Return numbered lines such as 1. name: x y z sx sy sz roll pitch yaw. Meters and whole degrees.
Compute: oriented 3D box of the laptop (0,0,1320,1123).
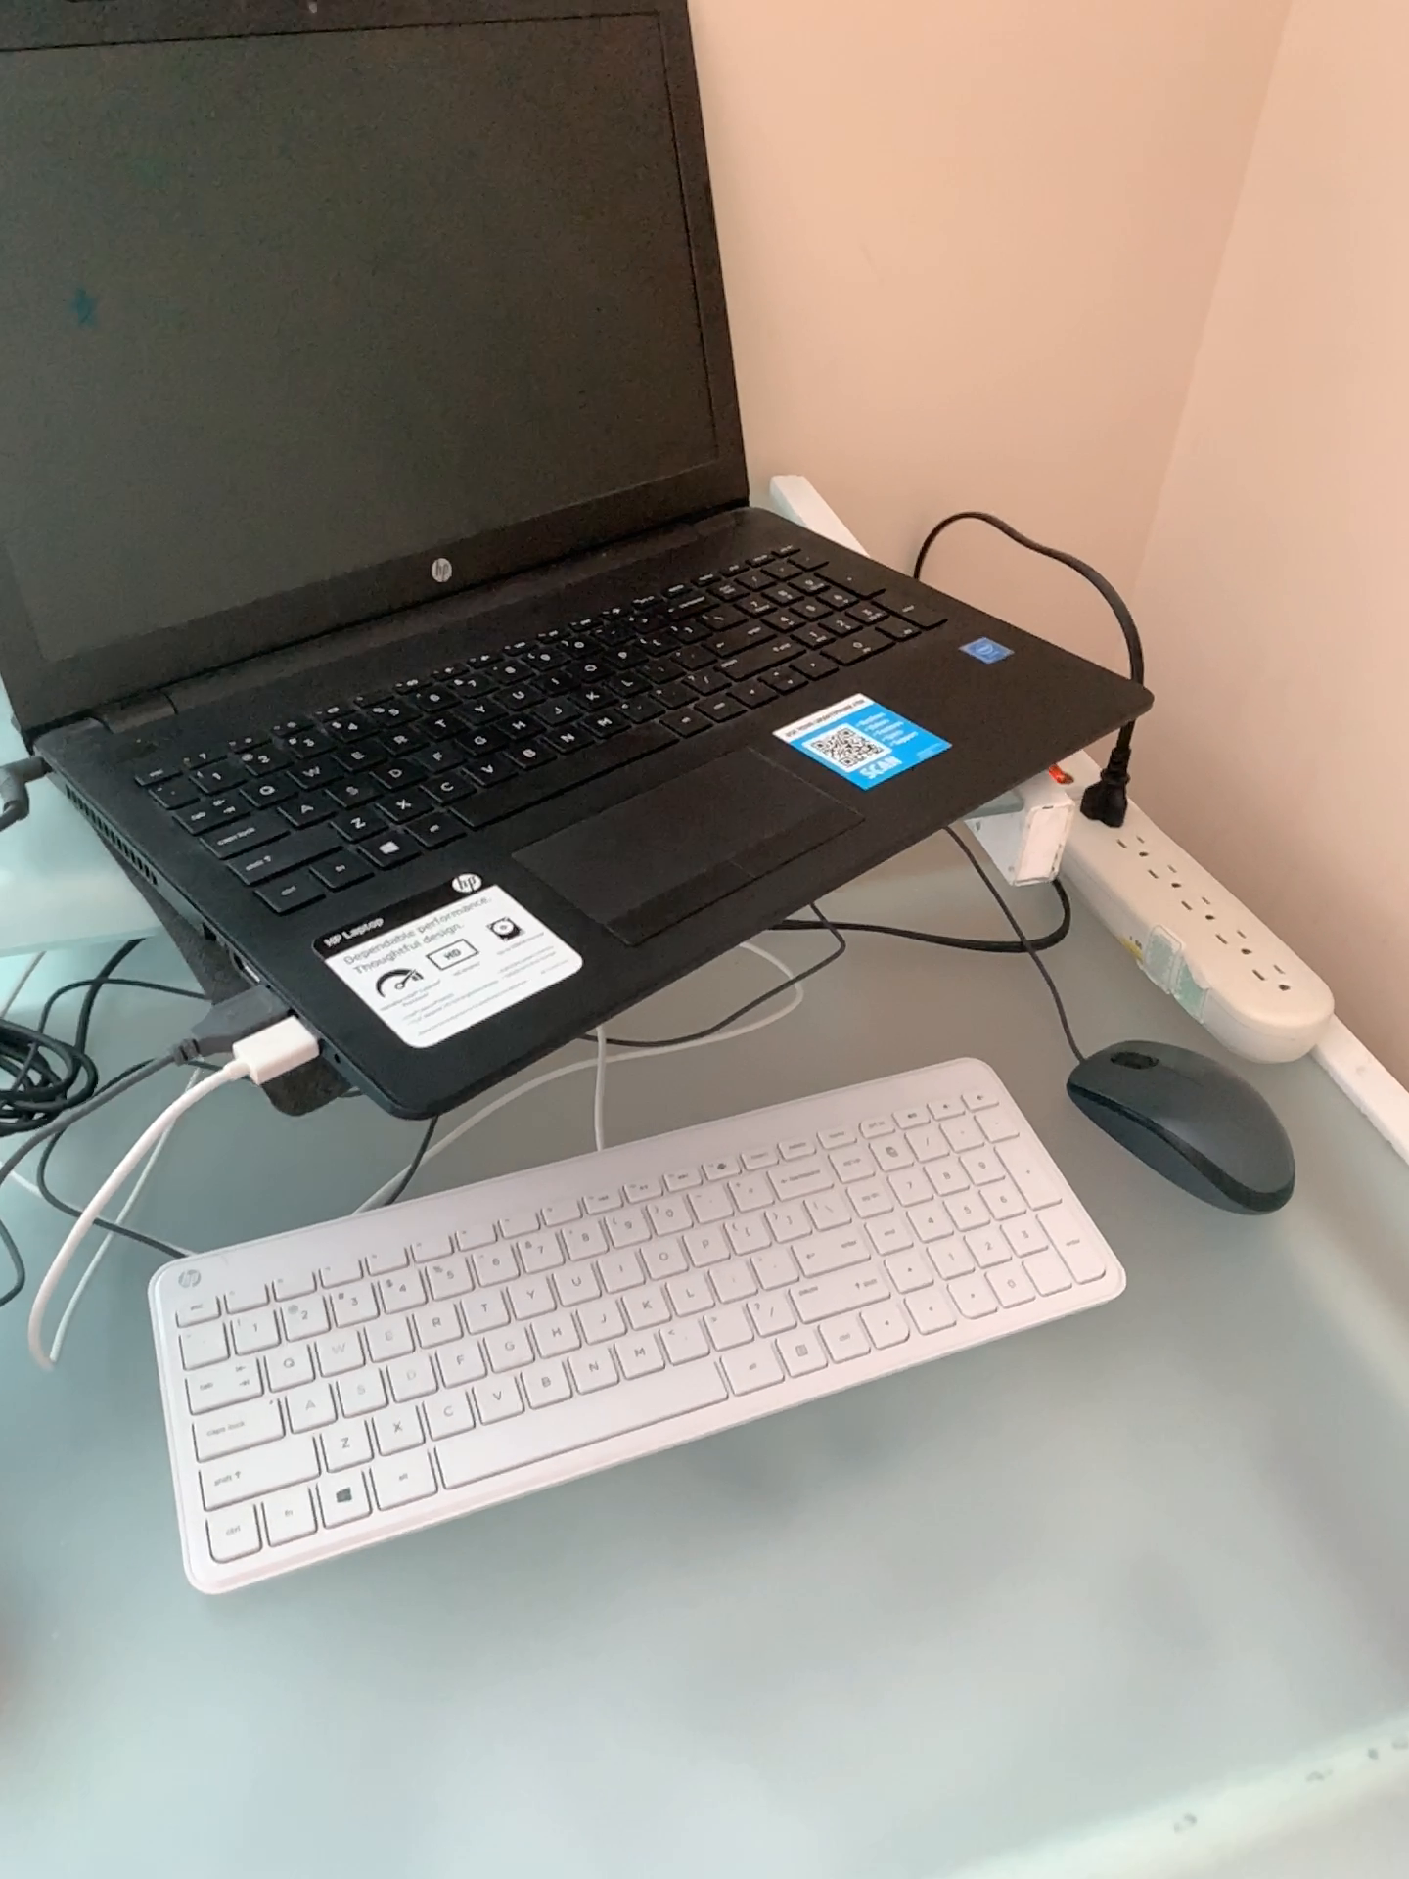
1. laptop: -0.047 -0.184 0.513 0.365 0.222 0.308 -29 48 -34
